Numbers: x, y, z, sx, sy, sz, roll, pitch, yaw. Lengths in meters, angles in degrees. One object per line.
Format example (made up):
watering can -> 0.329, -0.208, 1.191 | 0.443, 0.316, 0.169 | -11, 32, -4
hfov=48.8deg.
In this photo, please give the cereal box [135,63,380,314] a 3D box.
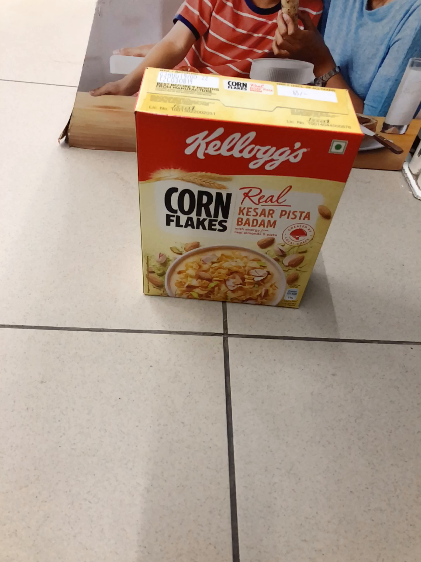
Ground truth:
cereal box -> 0.019, -0.056, 0.345 | 0.140, 0.169, 0.060 | 4, 48, -5
